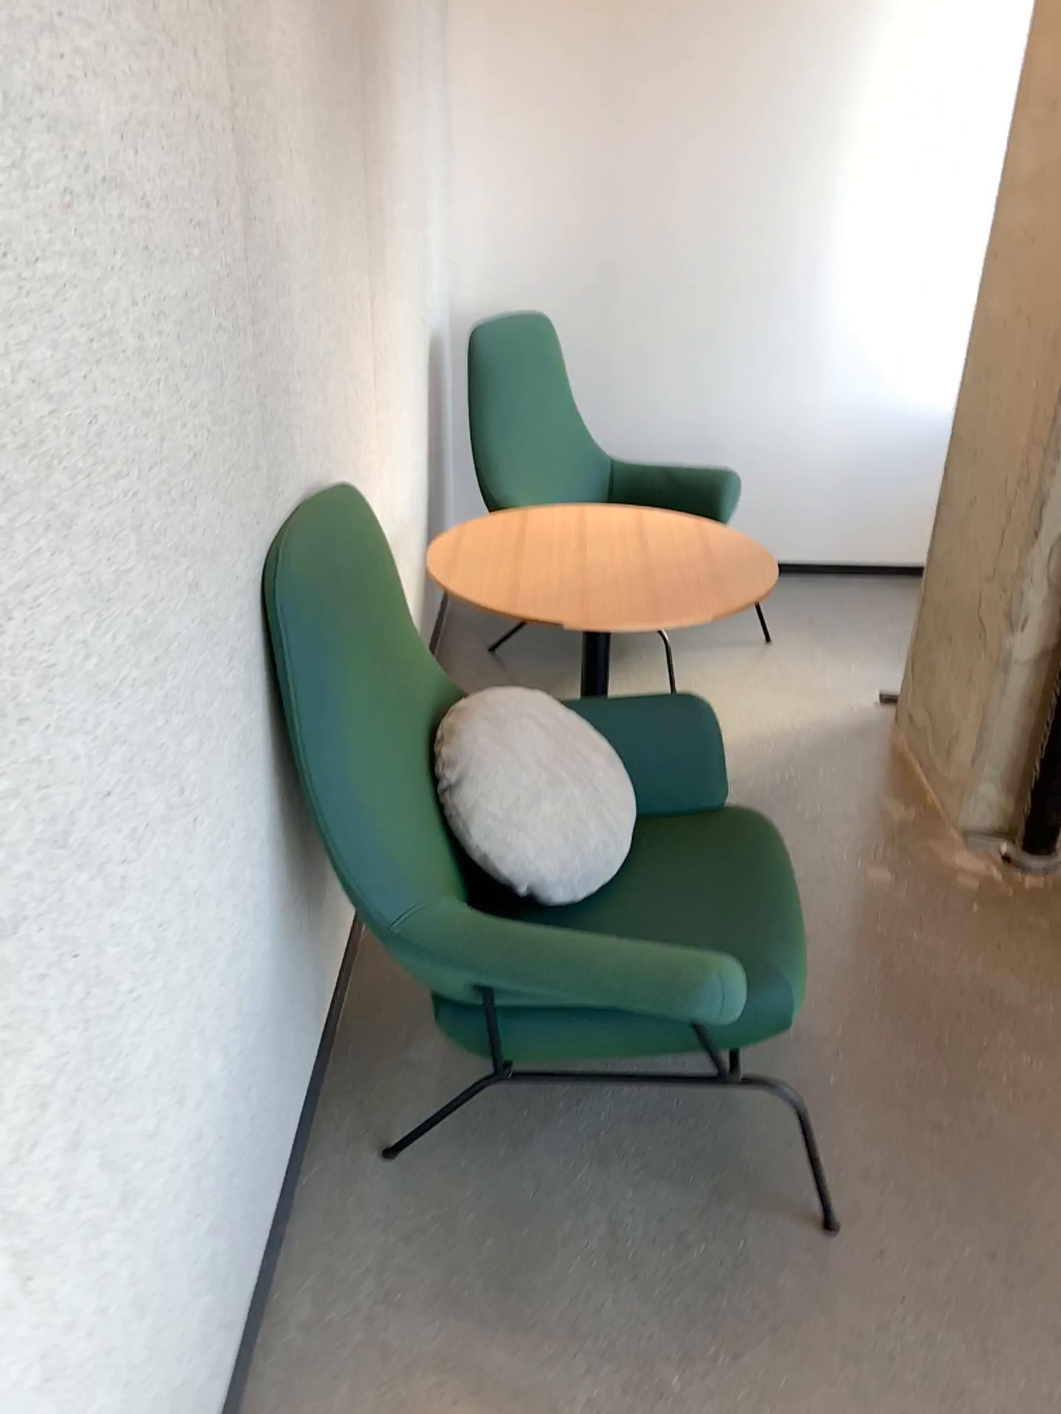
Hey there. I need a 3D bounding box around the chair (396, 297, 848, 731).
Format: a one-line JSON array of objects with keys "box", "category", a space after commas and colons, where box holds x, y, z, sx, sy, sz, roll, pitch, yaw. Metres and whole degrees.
[{"box": [0.261, -0.654, 3.269, 1.002, 0.955, 0.823, 19, 32, 30], "category": "chair"}]

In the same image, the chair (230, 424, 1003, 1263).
[{"box": [0.109, 0.165, 1.793, 0.850, 1.034, 0.835, 3, 28, 4], "category": "chair"}]
